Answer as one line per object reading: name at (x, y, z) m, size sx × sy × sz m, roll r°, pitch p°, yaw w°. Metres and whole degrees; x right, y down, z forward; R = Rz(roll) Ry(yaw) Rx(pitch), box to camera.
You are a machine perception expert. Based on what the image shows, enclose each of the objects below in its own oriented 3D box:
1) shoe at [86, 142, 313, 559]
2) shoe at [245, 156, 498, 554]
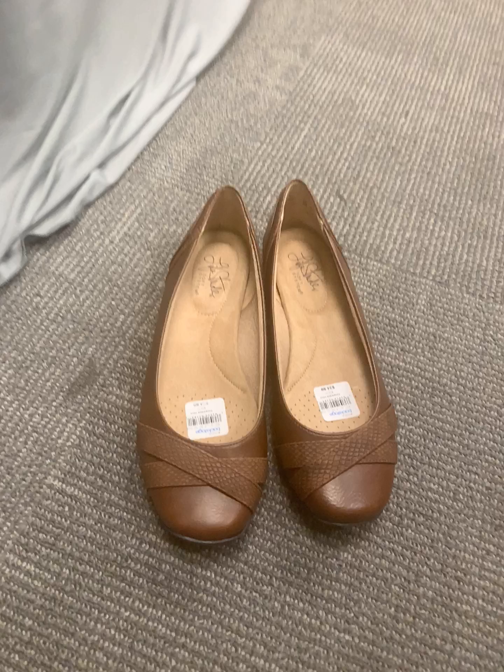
shoe at (-0.021, -0.003, 0.355) m, size 0.099 × 0.084 × 0.270 m, roll 8°, pitch 59°, yaw -2°
shoe at (0.062, 0.000, 0.368) m, size 0.098 × 0.084 × 0.272 m, roll -3°, pitch 60°, yaw -8°
